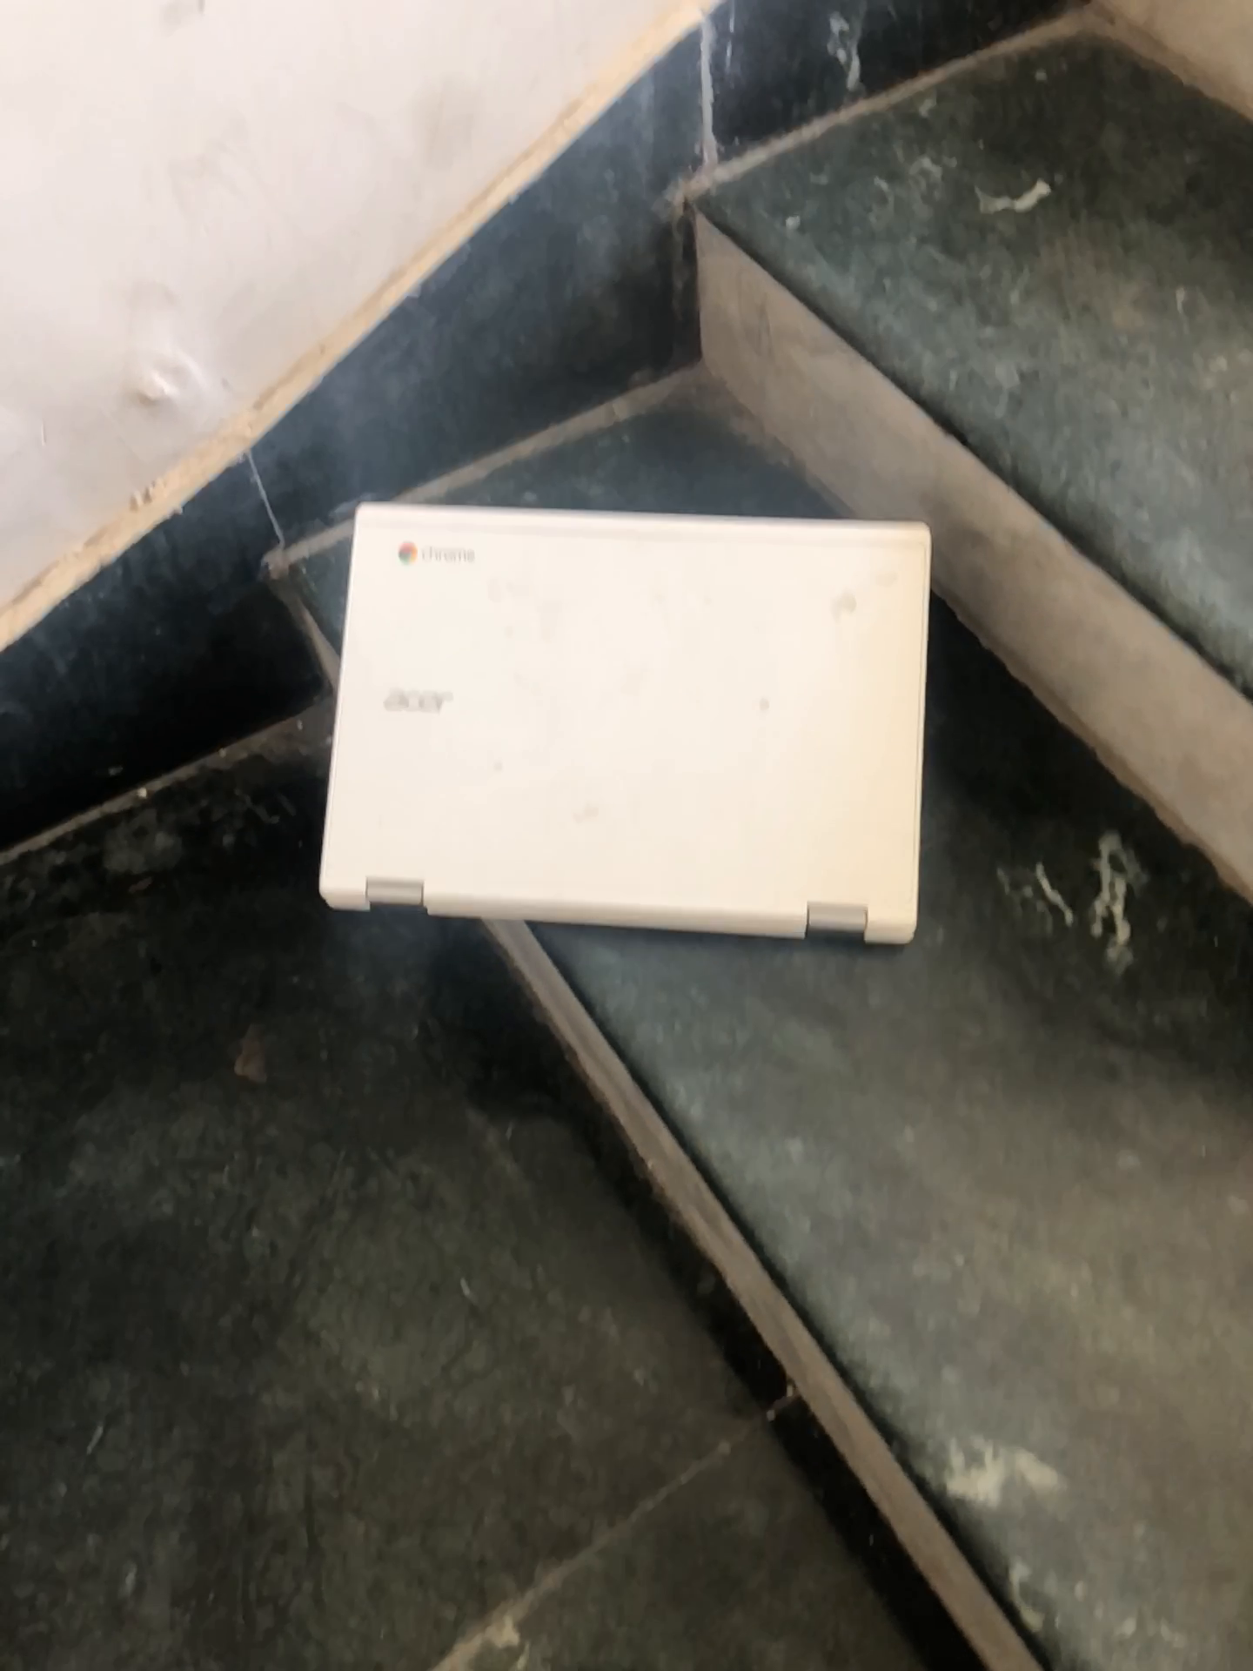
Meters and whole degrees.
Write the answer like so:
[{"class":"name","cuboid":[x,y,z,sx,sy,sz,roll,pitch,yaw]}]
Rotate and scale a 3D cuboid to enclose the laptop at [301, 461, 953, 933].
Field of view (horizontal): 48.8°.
[{"class":"laptop","cuboid":[0.004,-0.070,0.679,0.282,0.091,0.191,3,61,3]}]
